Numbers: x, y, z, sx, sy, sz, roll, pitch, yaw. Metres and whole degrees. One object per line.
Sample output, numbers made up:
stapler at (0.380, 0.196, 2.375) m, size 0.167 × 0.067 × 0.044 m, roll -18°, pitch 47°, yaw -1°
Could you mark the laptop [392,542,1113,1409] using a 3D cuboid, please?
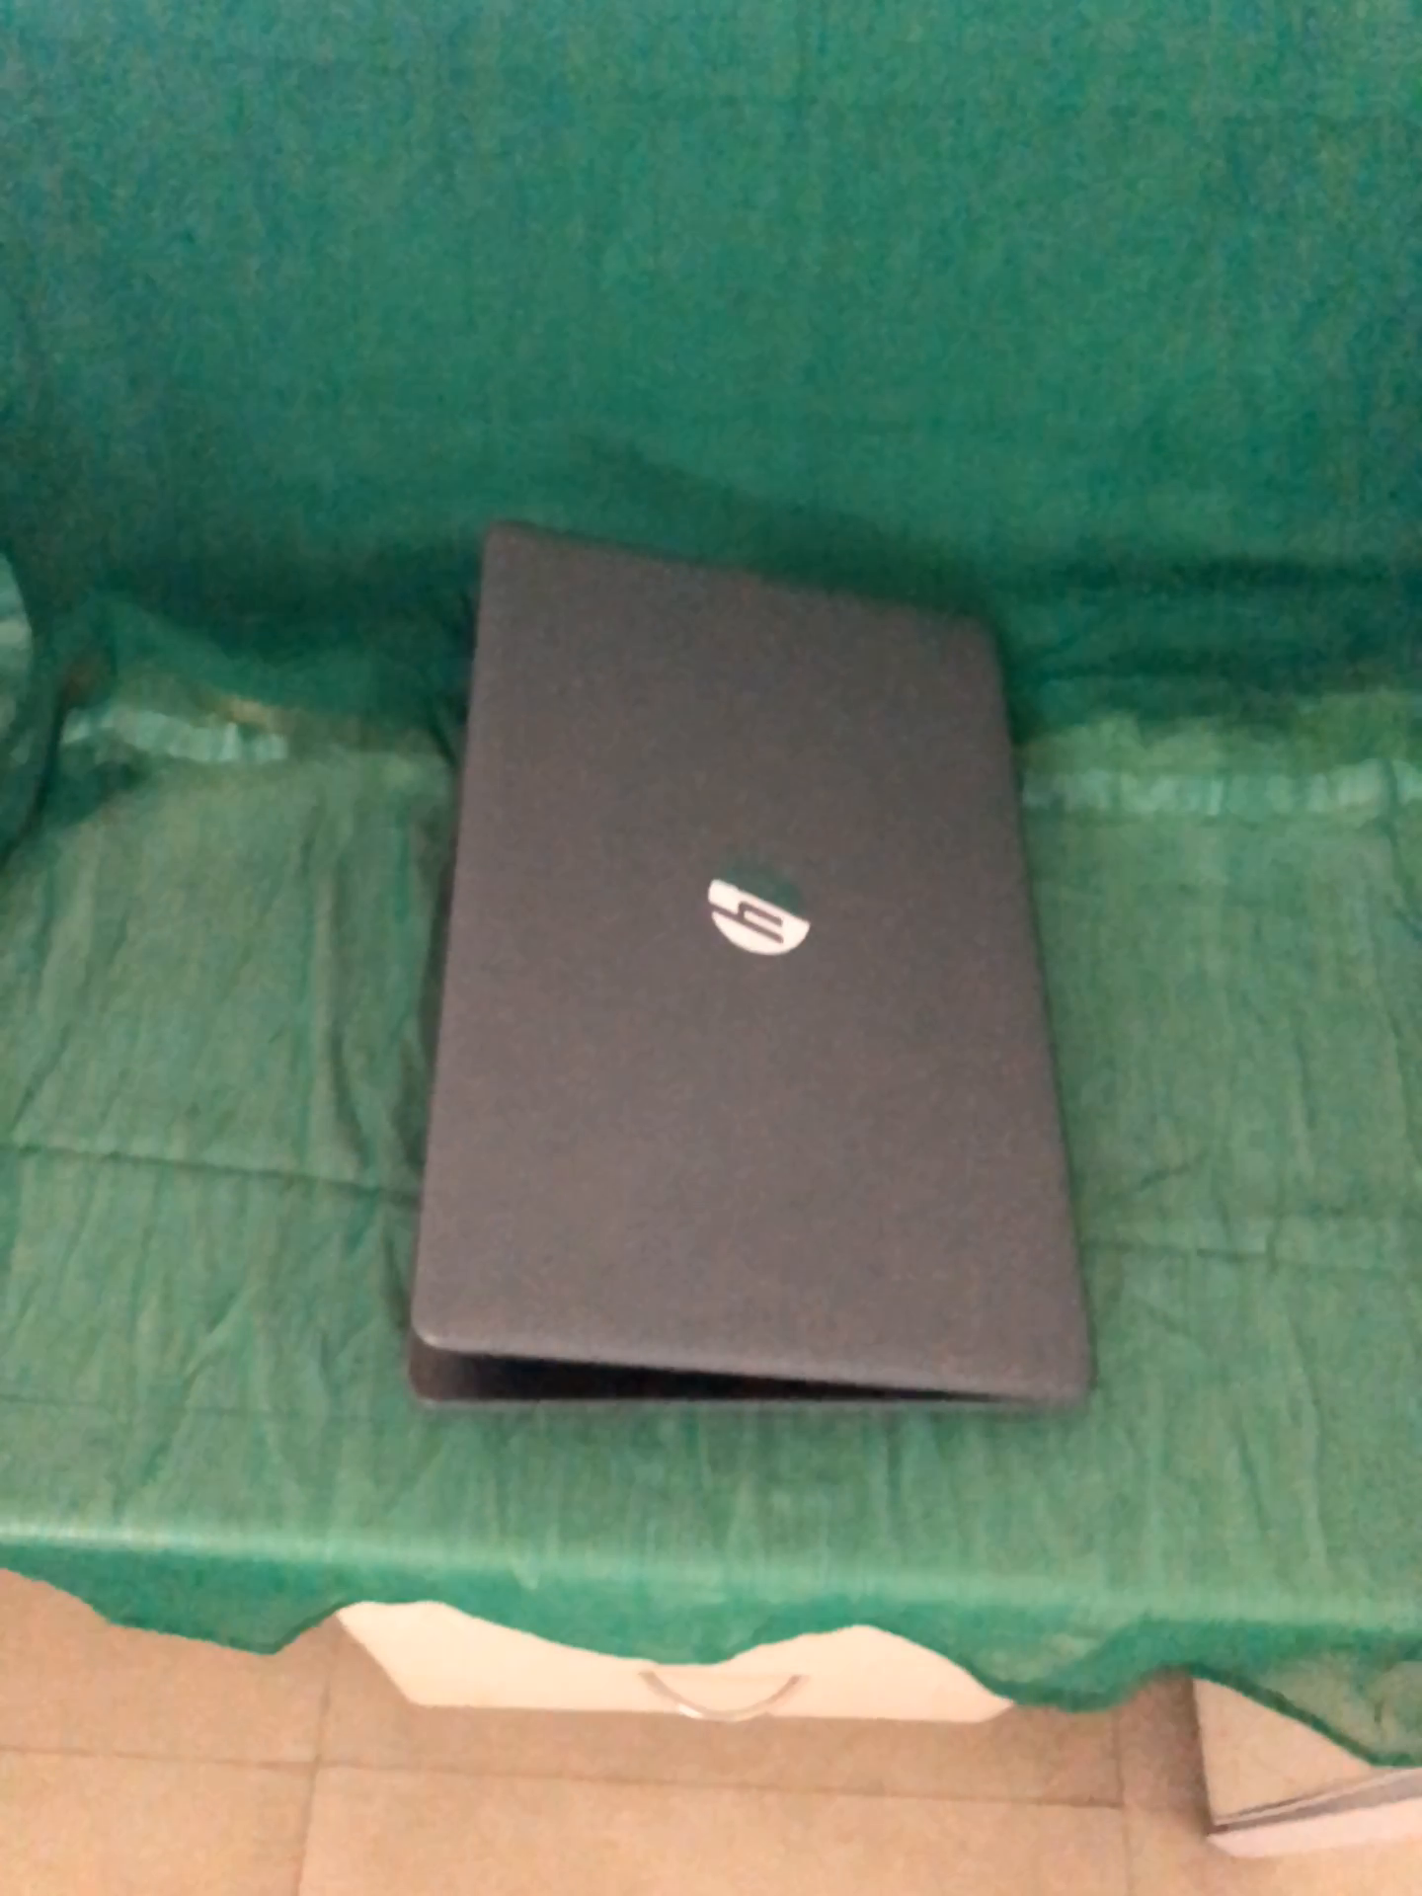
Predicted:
laptop at (0.014, -0.008, 0.630) m, size 0.231 × 0.067 × 0.360 m, roll 1°, pitch 57°, yaw -1°
